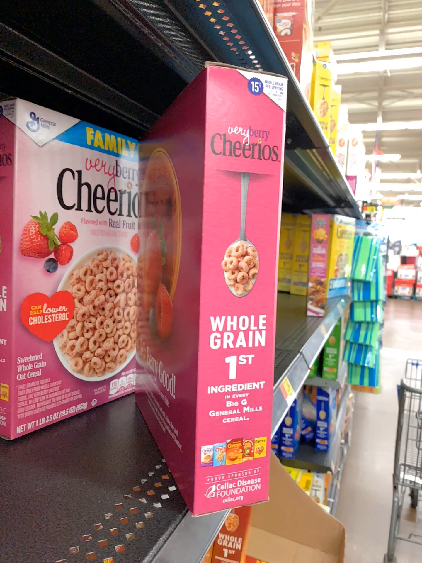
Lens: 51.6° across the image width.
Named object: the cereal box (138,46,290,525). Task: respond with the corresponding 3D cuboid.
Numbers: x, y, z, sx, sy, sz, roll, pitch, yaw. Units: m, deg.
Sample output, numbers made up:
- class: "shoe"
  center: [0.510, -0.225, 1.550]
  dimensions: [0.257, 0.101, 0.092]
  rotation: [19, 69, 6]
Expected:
- class: "cereal box"
  center: [-0.017, -0.002, 0.414]
  dimensions: [0.060, 0.320, 0.240]
  rotation: [0, 5, -19]
